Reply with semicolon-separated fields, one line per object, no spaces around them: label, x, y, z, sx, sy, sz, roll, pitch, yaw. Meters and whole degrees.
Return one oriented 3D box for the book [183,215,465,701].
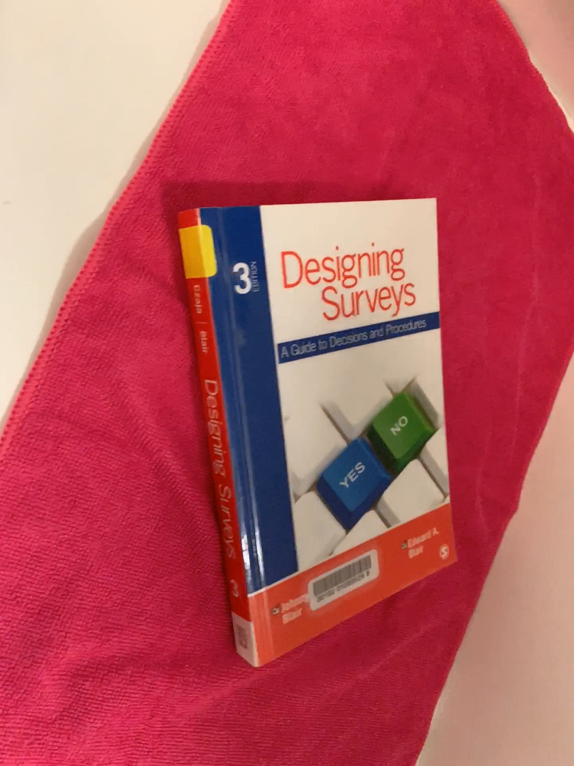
book;0.035;0.030;0.329;0.161;0.026;0.230;-14;105;-35
